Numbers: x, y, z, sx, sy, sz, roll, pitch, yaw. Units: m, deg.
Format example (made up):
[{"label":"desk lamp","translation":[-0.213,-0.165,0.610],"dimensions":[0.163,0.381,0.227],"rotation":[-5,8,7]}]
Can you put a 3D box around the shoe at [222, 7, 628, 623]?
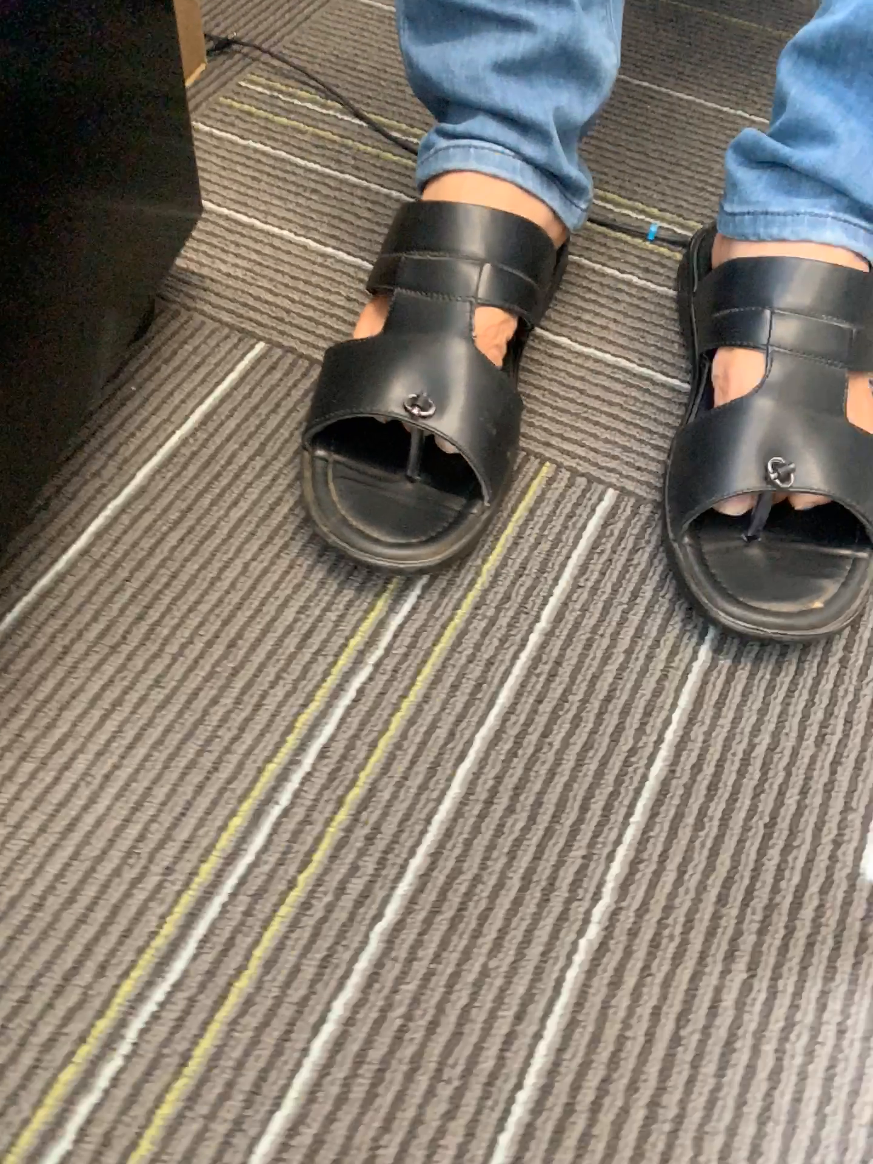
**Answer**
[{"label":"shoe","translation":[0.010,-0.154,0.471],"dimensions":[0.118,0.116,0.317],"rotation":[12,58,6]}]

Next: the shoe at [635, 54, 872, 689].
[{"label":"shoe","translation":[0.185,-0.122,0.462],"dimensions":[0.118,0.116,0.317],"rotation":[10,58,4]}]
